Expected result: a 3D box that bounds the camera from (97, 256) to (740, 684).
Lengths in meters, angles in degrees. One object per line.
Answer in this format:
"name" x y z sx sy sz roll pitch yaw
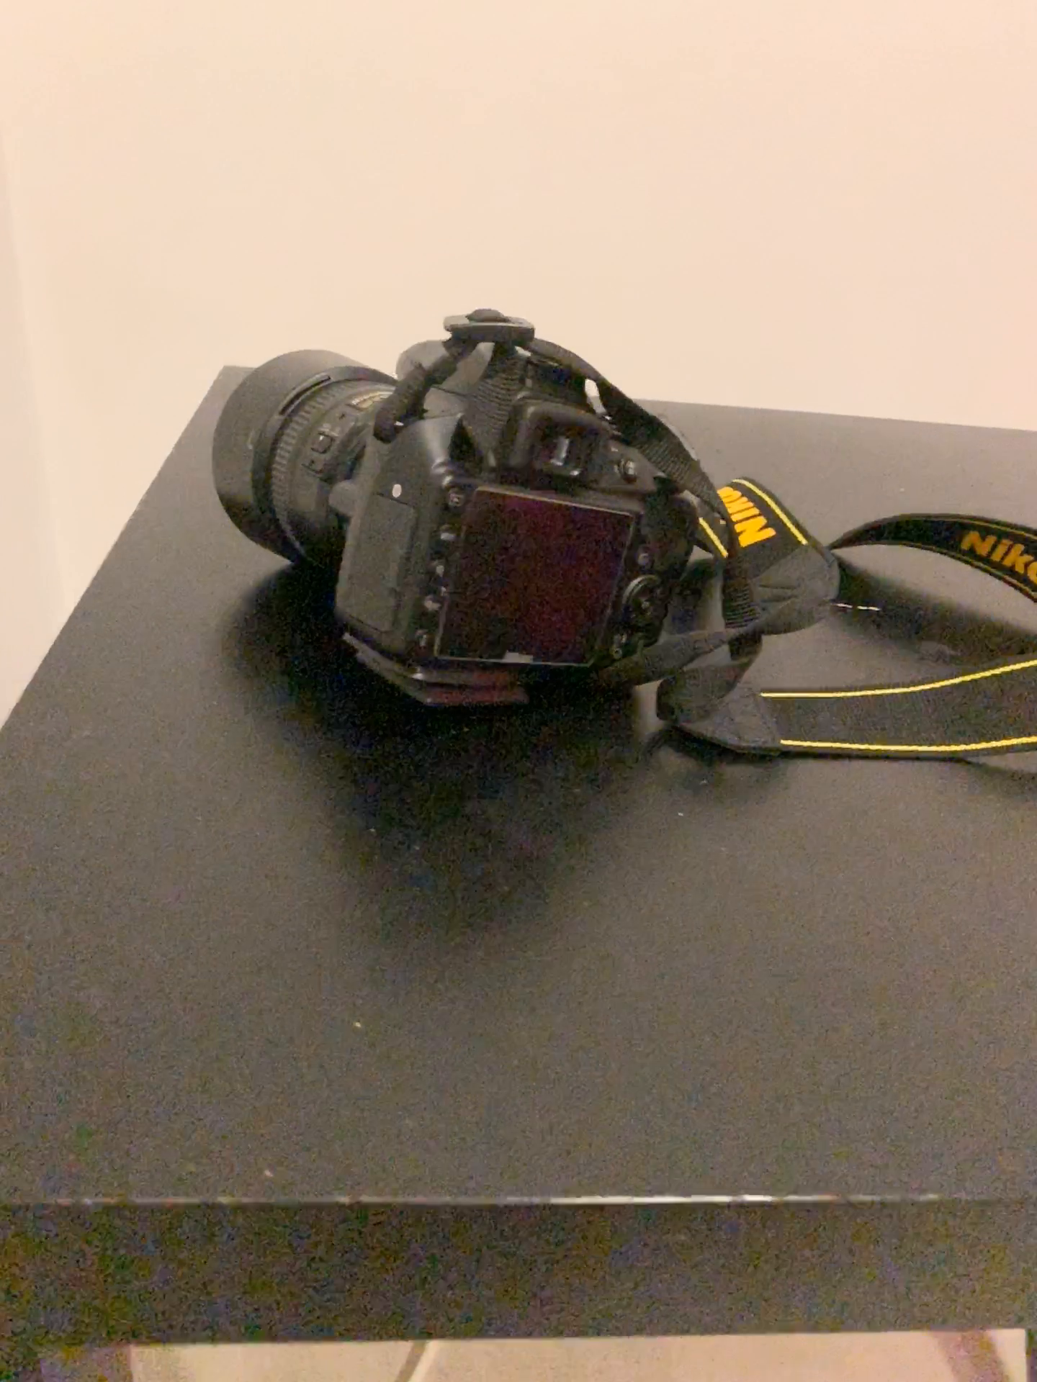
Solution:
"camera" -0.051 -0.087 0.393 0.116 0.089 0.220 3 20 -42
